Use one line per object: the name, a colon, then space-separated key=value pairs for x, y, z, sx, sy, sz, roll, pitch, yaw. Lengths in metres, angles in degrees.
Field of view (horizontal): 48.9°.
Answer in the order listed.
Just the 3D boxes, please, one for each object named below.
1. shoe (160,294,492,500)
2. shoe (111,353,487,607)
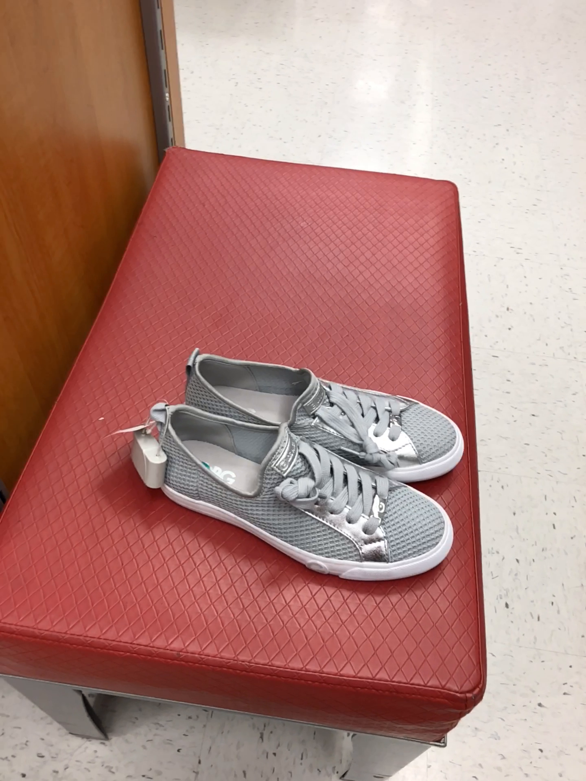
shoe: x=0.031 y=0.005 z=0.583 sx=0.268 sy=0.095 sz=0.106 roll=10 pitch=51 yaw=5
shoe: x=0.006 y=0.071 z=0.529 sx=0.268 sy=0.096 sz=0.106 roll=14 pitch=52 yaw=8
